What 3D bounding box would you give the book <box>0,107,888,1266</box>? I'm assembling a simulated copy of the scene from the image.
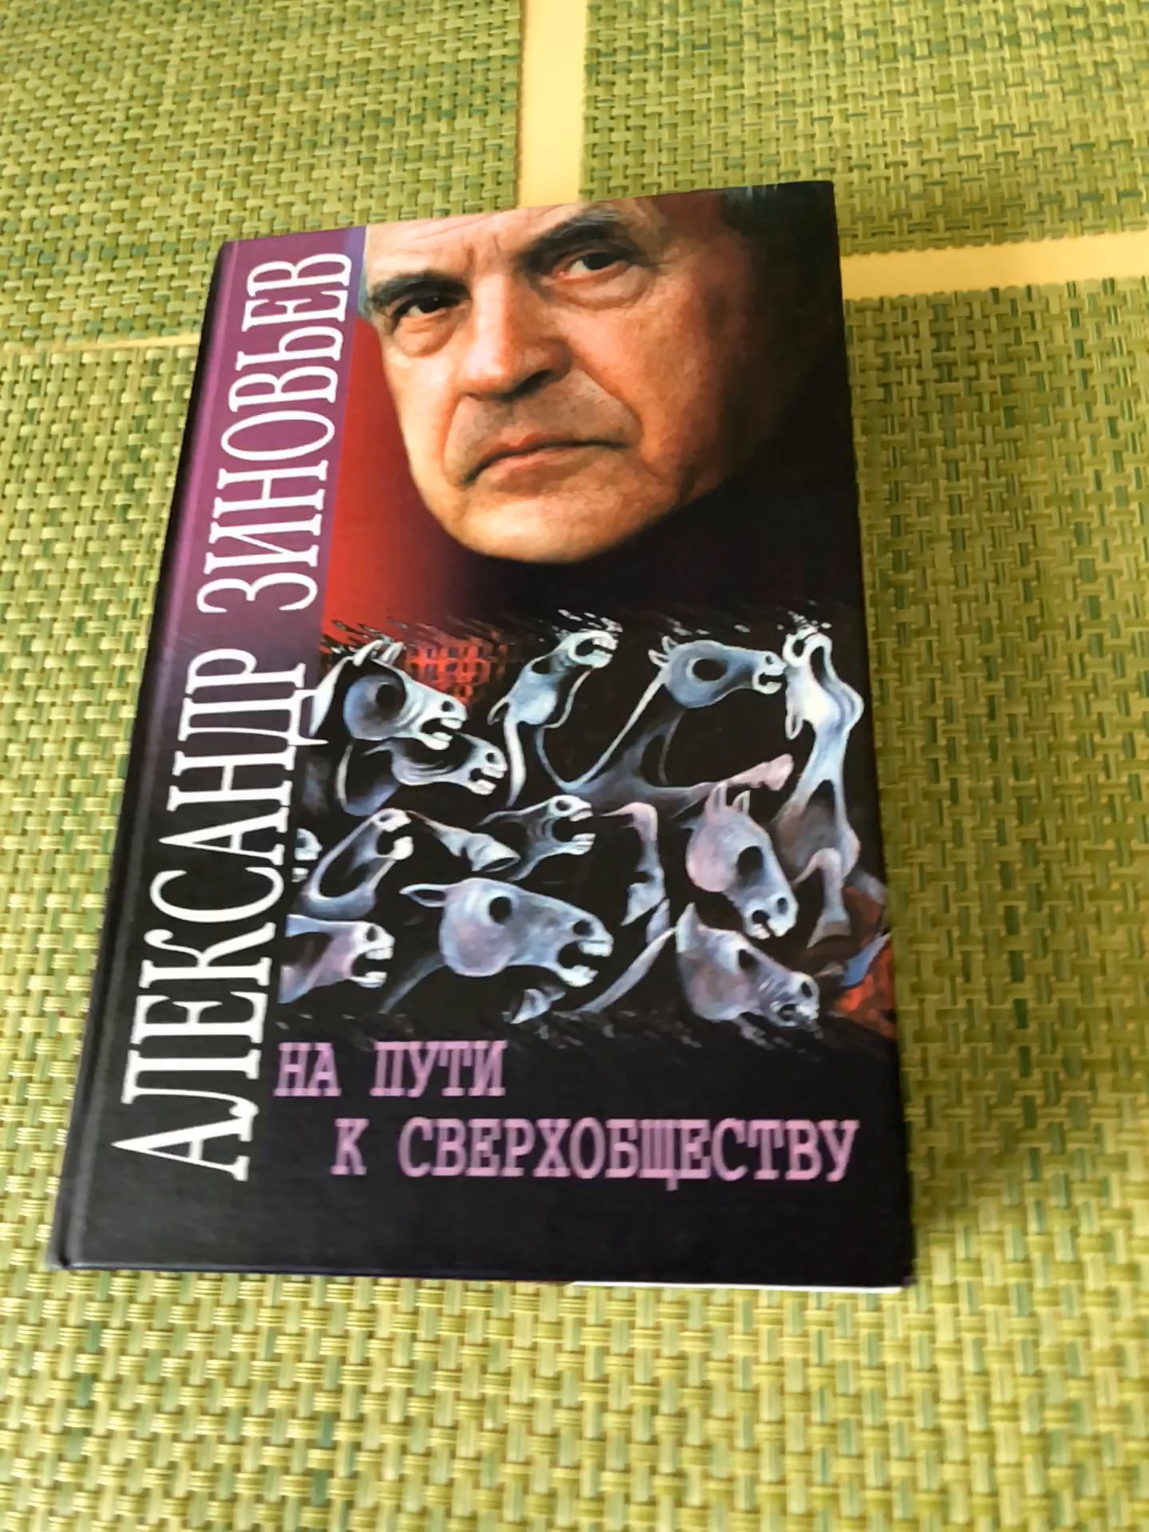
[{"bbox_3d":[-0.030,-0.020,0.228,0.150,0.040,0.201,-2,67,8],"label":"book"}]
